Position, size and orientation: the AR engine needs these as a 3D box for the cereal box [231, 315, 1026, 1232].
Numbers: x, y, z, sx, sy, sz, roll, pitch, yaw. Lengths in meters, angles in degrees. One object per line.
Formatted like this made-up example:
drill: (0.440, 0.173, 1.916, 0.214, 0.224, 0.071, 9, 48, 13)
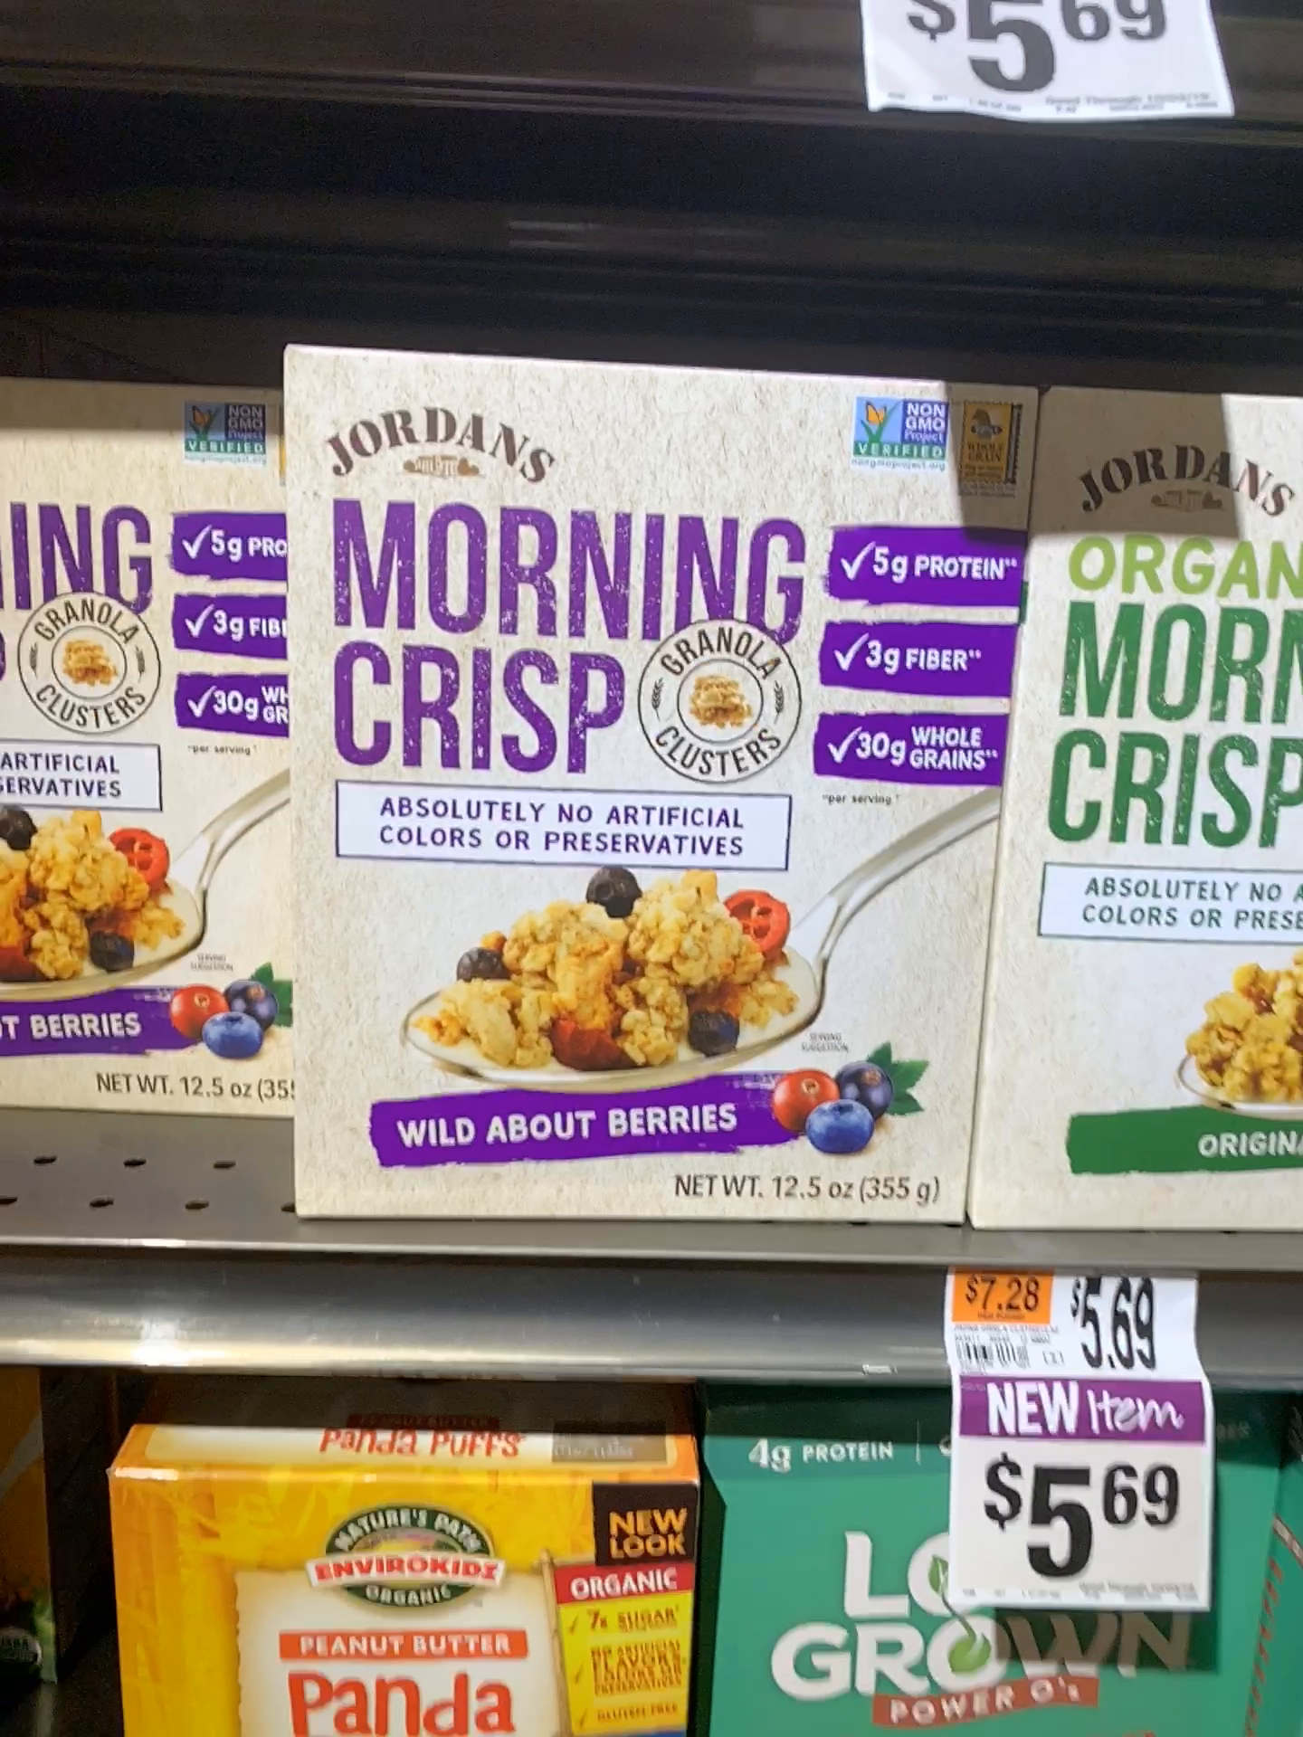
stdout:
cereal box: (-0.009, -0.020, 0.353, 0.180, 0.219, 0.060, 1, 11, -4)
